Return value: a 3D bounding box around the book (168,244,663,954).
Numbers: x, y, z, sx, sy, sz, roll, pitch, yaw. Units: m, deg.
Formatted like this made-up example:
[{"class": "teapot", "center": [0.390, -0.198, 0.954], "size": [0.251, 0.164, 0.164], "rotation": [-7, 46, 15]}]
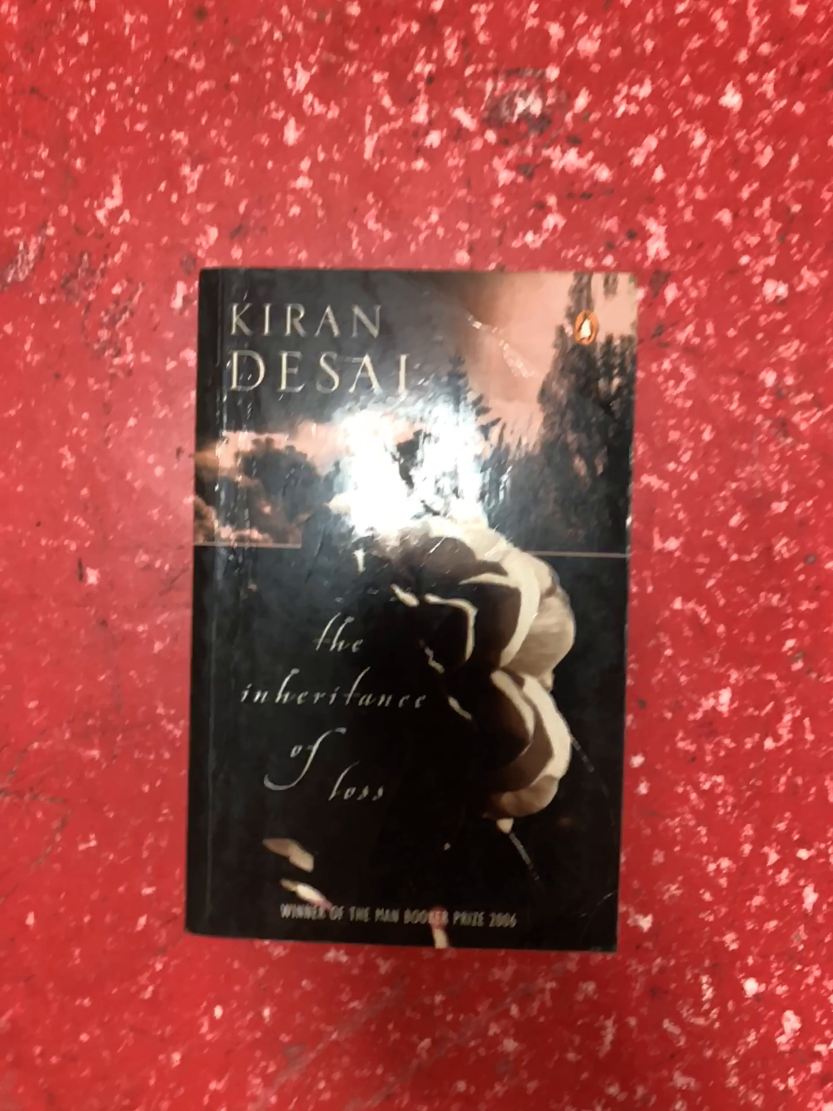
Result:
[{"class": "book", "center": [0.000, 0.011, 0.285], "size": [0.130, 0.060, 0.190], "rotation": [2, 91, 2]}]
